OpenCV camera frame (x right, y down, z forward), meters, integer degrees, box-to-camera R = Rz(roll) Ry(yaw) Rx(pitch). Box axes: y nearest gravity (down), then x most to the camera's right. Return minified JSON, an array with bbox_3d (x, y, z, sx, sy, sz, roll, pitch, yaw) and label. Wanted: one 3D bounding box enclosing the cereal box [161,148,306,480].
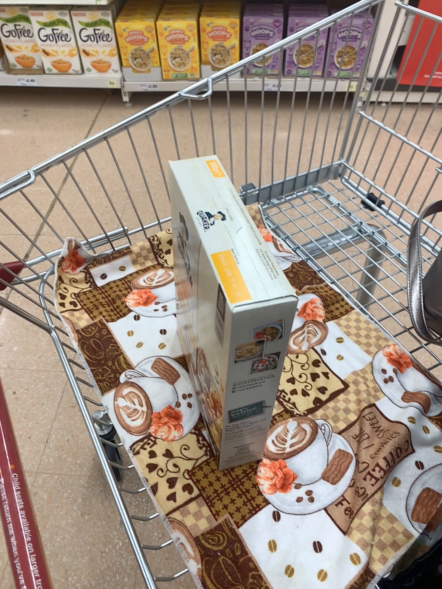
[{"bbox_3d":[-0.005,0.027,0.444,0.050,0.258,0.202,-12,48,-14],"label":"cereal box"}]
